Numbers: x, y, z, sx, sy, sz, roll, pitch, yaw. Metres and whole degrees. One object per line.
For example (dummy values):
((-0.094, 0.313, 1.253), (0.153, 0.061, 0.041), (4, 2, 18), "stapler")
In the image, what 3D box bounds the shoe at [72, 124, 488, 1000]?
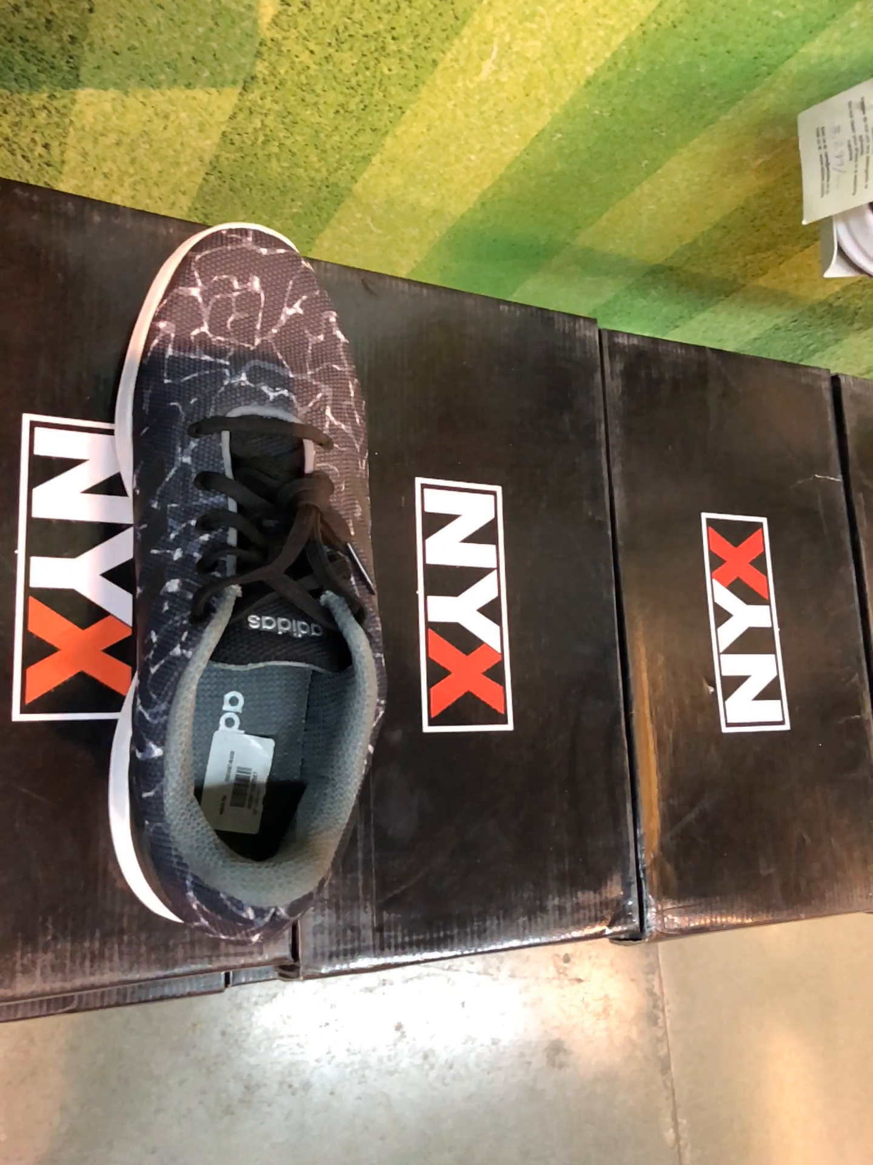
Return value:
((-0.058, -0.002, 0.356), (0.109, 0.121, 0.261), (7, 76, -26), "shoe")
